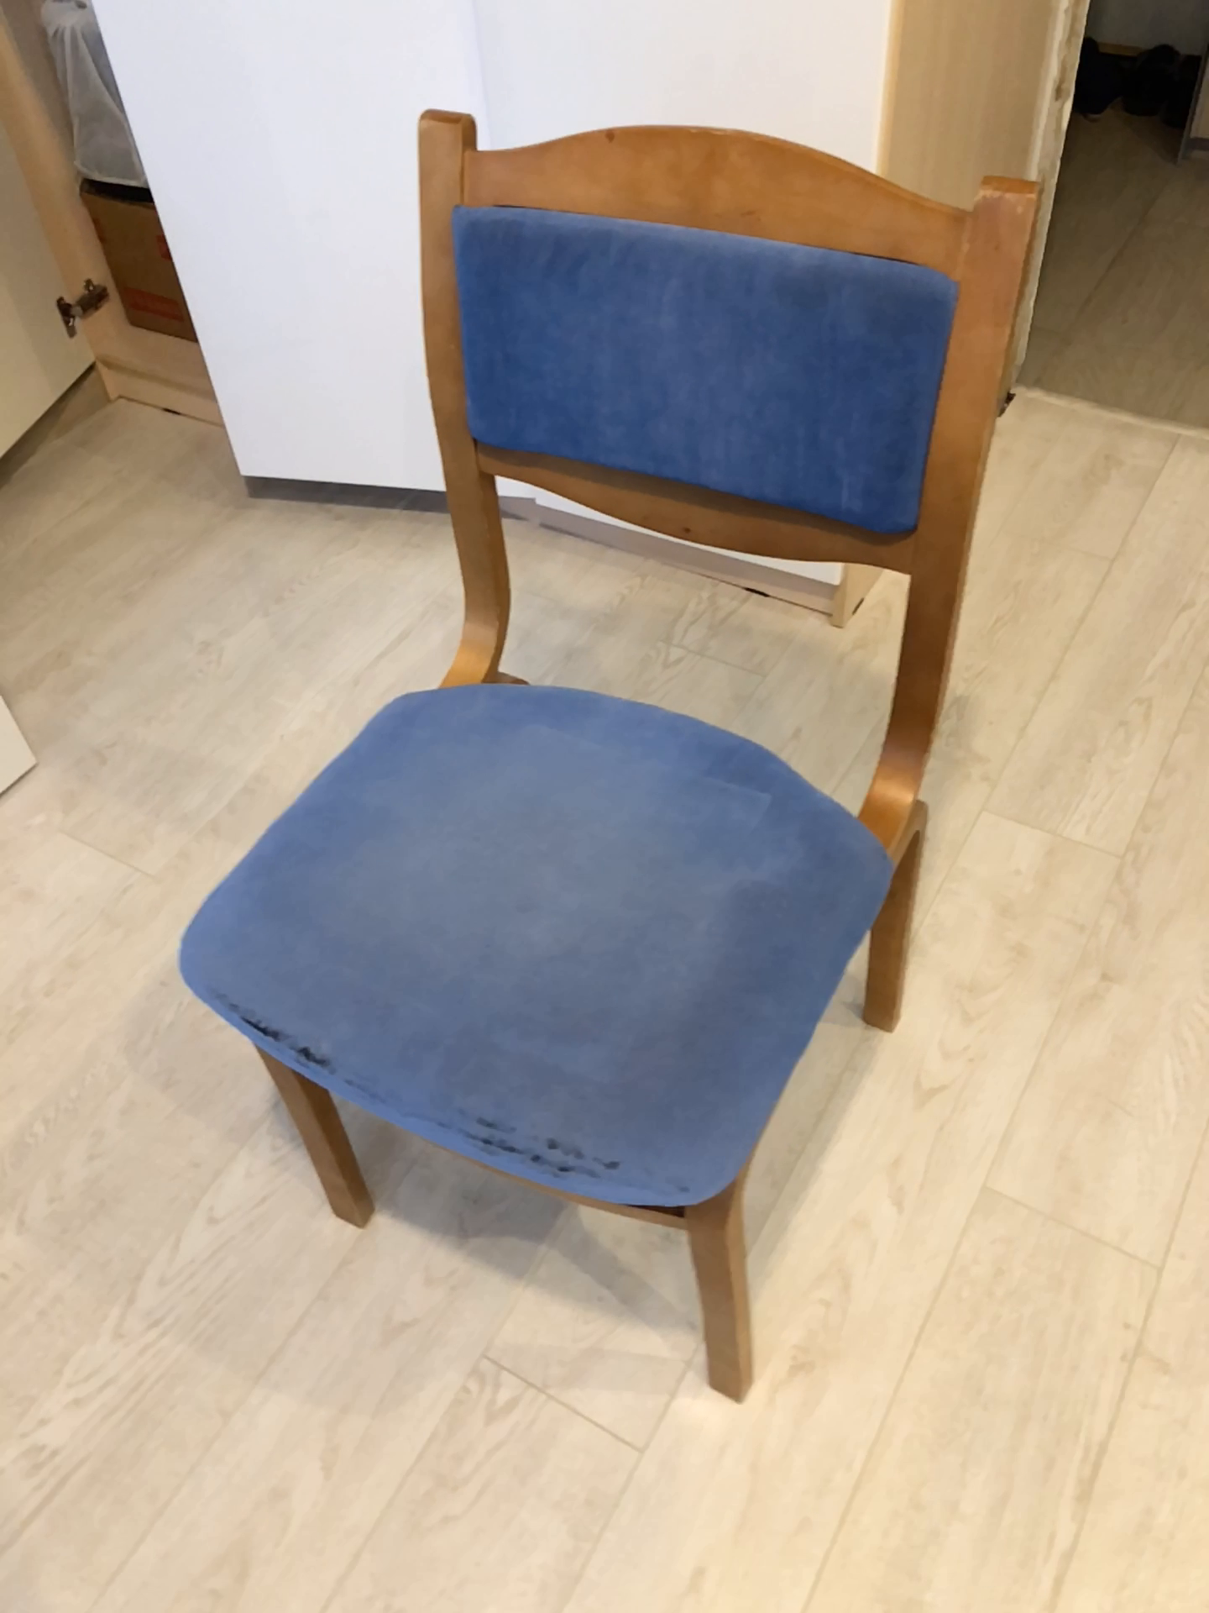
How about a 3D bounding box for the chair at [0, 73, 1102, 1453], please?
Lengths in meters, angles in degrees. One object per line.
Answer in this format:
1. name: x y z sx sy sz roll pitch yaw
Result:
1. chair: -0.013 0.015 0.957 0.450 0.805 0.473 19 53 20
